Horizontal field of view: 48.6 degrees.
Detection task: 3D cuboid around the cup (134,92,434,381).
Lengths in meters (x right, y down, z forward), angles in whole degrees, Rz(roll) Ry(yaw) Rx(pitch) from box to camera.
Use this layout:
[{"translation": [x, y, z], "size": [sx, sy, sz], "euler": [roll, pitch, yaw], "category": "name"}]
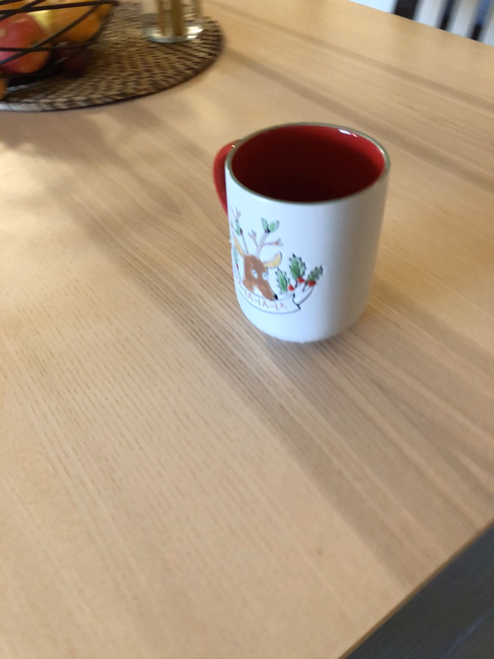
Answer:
[{"translation": [0.019, -0.065, 0.346], "size": [0.100, 0.100, 0.140], "euler": [-34, 53, -27], "category": "cup"}]
